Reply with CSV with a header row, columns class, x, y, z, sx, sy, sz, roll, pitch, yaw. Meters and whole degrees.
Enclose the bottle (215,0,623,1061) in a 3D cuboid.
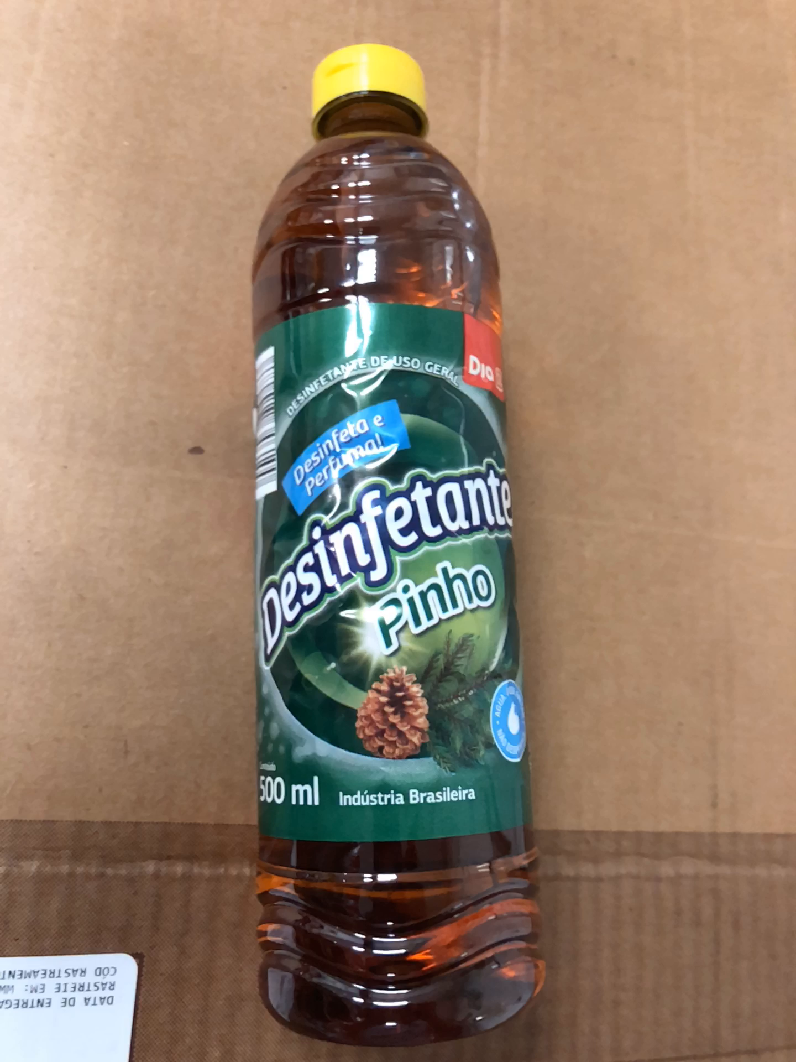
class,x,y,z,sx,sy,sz,roll,pitch,yaw
bottle,-0.004,-0.008,0.196,0.060,0.070,0.220,-2,76,-5
